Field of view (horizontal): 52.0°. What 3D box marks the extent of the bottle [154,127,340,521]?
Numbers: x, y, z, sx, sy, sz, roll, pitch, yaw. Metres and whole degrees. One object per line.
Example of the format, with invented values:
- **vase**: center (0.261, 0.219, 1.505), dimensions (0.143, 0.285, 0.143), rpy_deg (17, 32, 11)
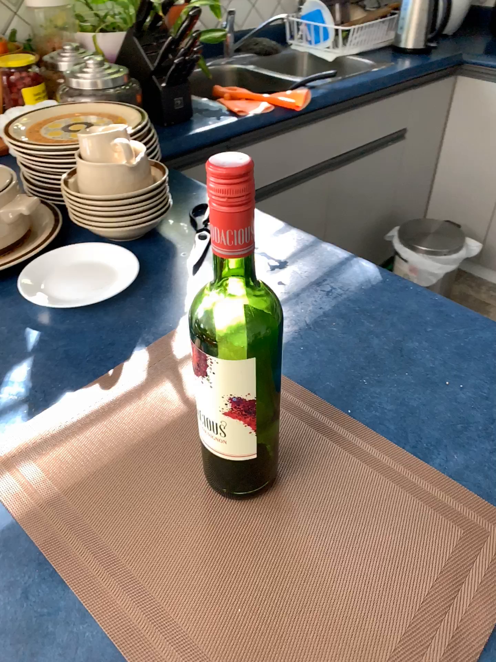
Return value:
- **bottle**: center (-0.001, 0.014, 0.393), dimensions (0.080, 0.297, 0.081), rpy_deg (0, 39, 0)
